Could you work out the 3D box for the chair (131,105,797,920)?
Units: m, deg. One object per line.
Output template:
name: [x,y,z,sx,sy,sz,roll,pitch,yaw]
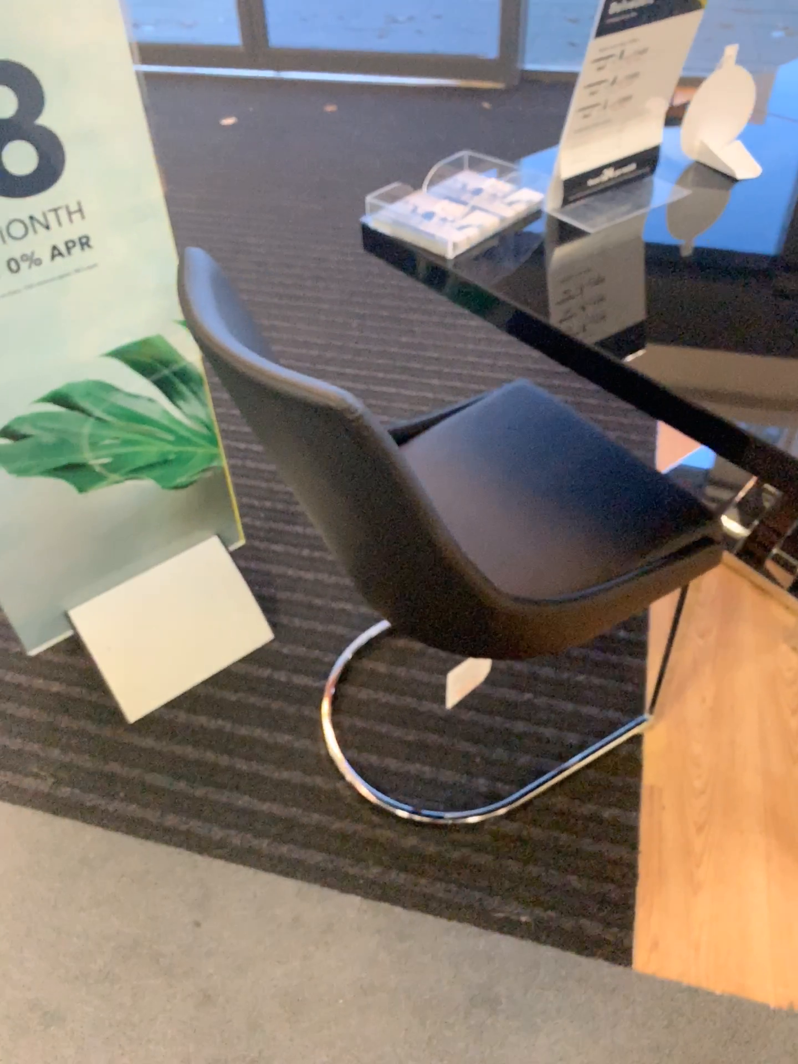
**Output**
chair: [0.110,-0.025,1.137,0.610,0.812,0.534,-23,47,-20]
